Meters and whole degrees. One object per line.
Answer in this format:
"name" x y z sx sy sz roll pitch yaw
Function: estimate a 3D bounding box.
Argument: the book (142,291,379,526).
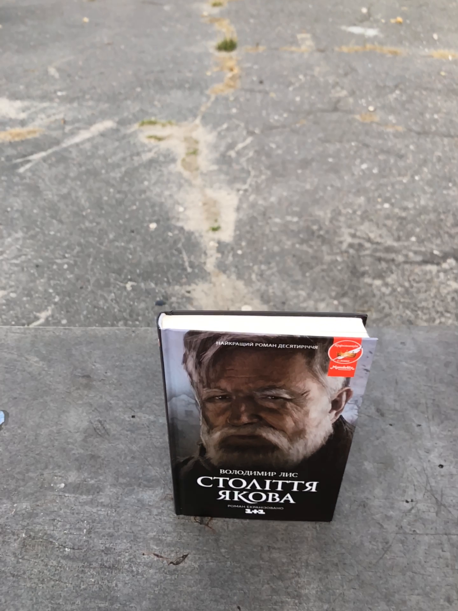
"book" 0.019 0.087 0.375 0.140 0.211 0.030 2 37 3
